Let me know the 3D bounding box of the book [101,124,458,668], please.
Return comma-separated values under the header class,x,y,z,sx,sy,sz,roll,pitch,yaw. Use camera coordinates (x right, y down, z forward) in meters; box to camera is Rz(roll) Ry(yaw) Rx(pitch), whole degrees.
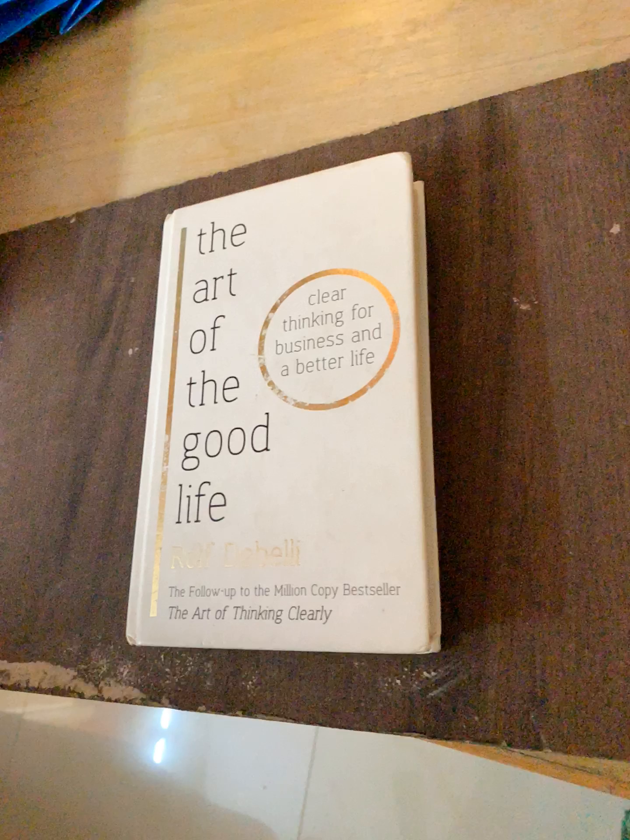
class,x,y,z,sx,sy,sz,roll,pitch,yaw
book,-0.013,-0.008,0.247,0.117,0.037,0.180,-6,73,23
